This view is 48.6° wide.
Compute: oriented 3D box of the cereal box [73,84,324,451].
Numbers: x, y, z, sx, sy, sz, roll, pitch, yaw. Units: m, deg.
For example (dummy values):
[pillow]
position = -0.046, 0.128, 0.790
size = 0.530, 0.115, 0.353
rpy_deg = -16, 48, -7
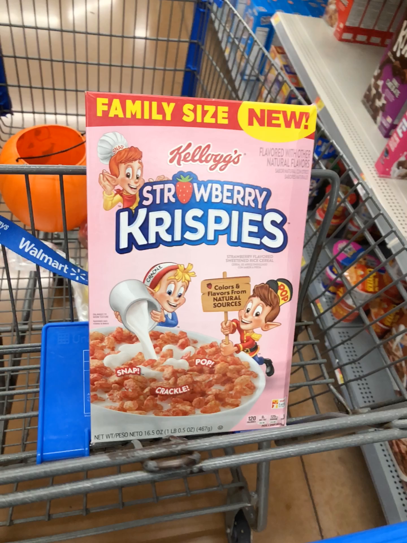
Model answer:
[cereal box]
position = -0.011, -0.001, 0.414
size = 0.200, 0.290, 0.080
rpy_deg = -1, 11, -15
